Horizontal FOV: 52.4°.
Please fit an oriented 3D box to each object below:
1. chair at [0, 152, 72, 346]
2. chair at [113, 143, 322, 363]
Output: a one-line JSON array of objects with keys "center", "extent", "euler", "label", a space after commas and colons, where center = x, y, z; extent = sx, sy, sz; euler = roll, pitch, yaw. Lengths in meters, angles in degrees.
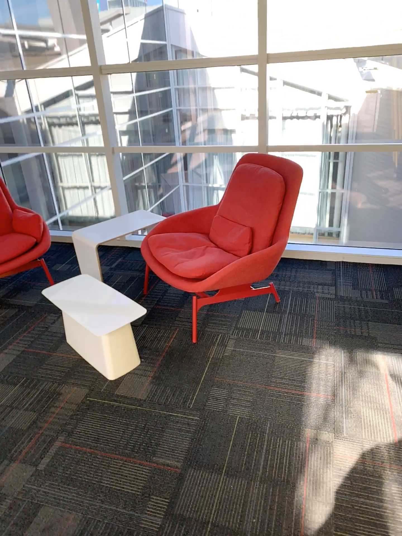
[{"center": [-1.655, -0.211, 3.081], "extent": [0.871, 1.054, 0.824], "euler": [-22, 32, -31], "label": "chair"}, {"center": [0.105, -0.189, 2.670], "extent": [0.921, 0.994, 0.874], "euler": [-21, 31, -30], "label": "chair"}]
